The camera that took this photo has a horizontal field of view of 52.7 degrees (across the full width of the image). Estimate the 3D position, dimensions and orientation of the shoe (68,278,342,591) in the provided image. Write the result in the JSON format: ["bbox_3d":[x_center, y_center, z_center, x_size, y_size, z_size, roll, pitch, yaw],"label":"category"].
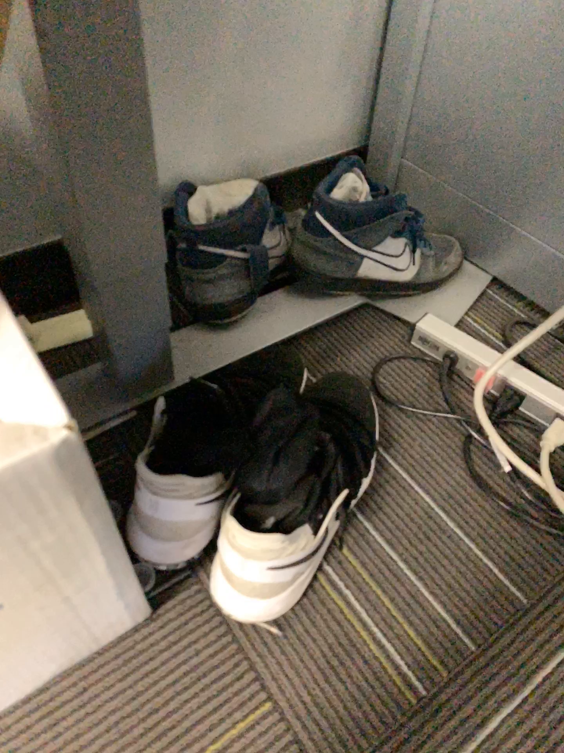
[{"bbox_3d":[-0.060,0.044,0.591,0.100,0.129,0.301,26,51,18],"label":"shoe"}]

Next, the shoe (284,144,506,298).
[{"bbox_3d":[0.155,-0.224,0.845,0.260,0.159,0.131,0,47,-14],"label":"shoe"}]

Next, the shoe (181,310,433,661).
[{"bbox_3d":[0.035,0.086,0.539,0.100,0.129,0.291,23,51,16],"label":"shoe"}]

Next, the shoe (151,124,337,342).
[{"bbox_3d":[-0.043,-0.225,0.836,0.130,0.169,0.331,19,42,13],"label":"shoe"}]
